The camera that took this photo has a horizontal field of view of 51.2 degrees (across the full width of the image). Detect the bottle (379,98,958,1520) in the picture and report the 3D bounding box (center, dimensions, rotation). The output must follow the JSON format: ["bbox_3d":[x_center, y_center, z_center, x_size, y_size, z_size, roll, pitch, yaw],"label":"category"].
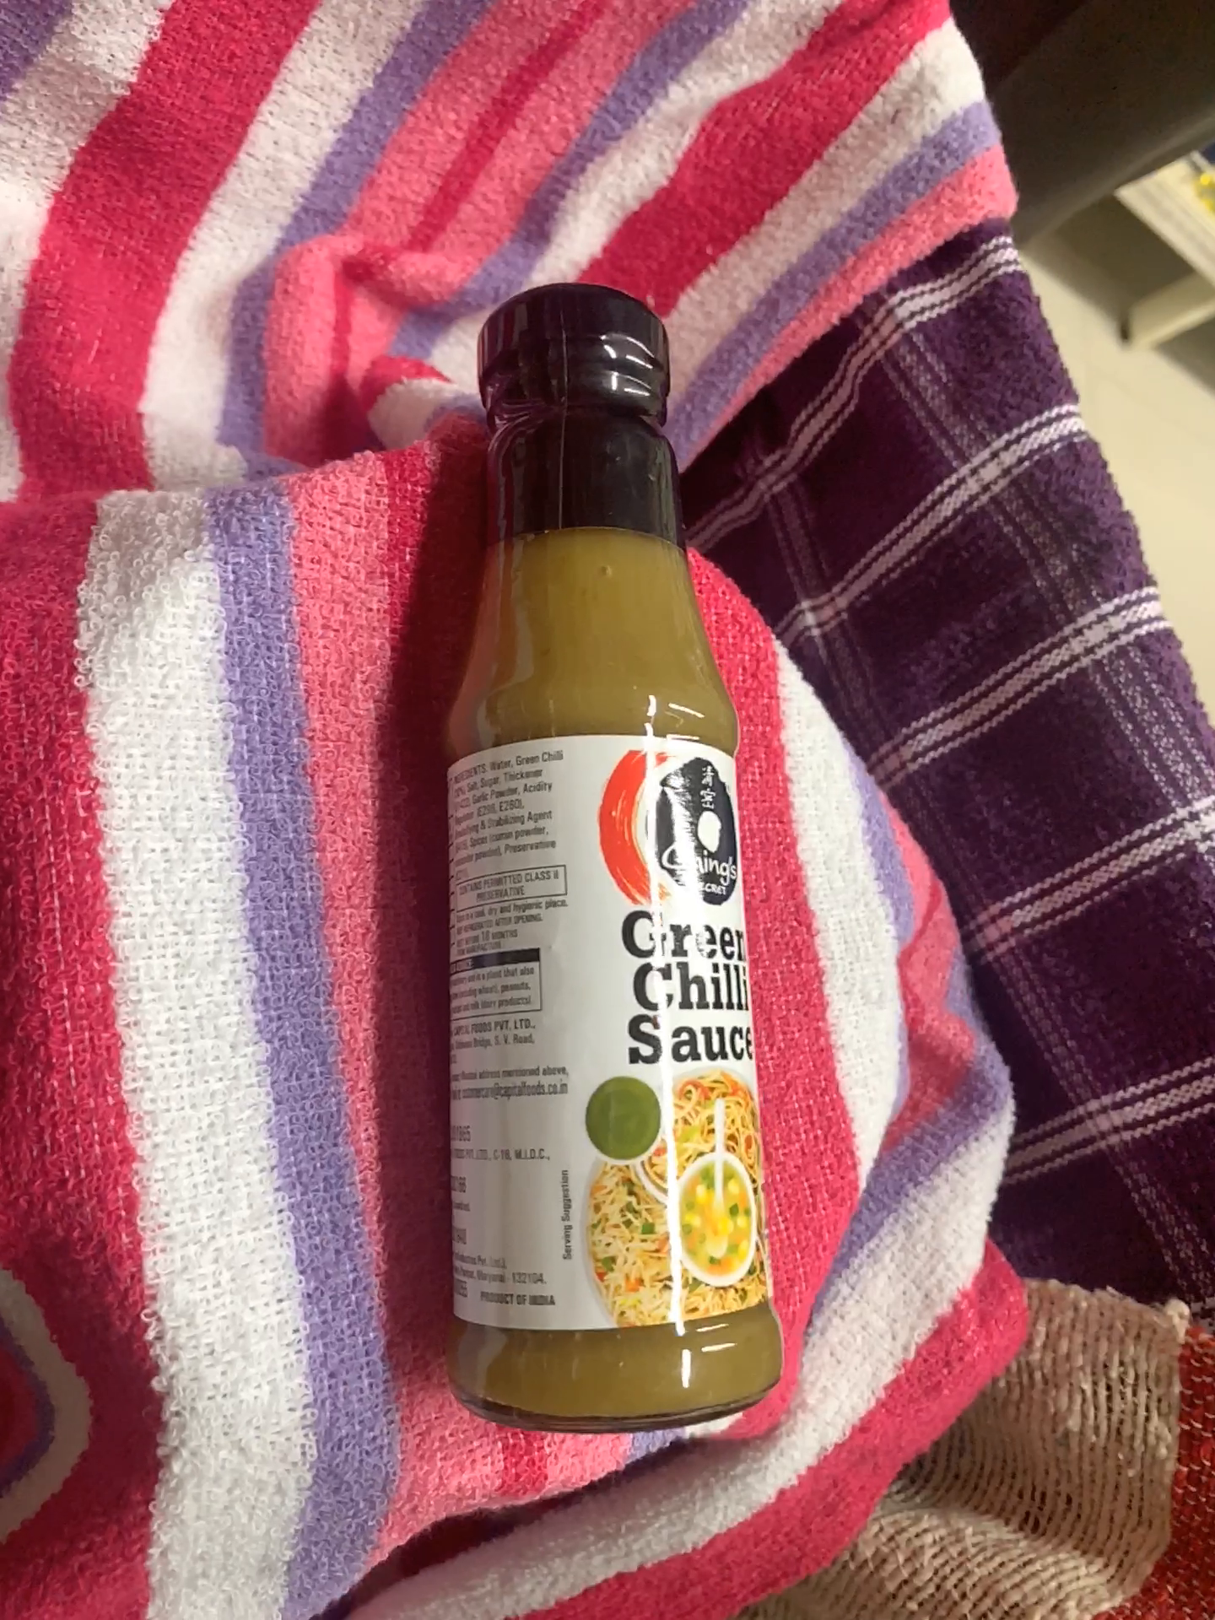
[{"bbox_3d":[0.004,-0.003,0.182,0.050,0.050,0.170,6,75,-38],"label":"bottle"}]
